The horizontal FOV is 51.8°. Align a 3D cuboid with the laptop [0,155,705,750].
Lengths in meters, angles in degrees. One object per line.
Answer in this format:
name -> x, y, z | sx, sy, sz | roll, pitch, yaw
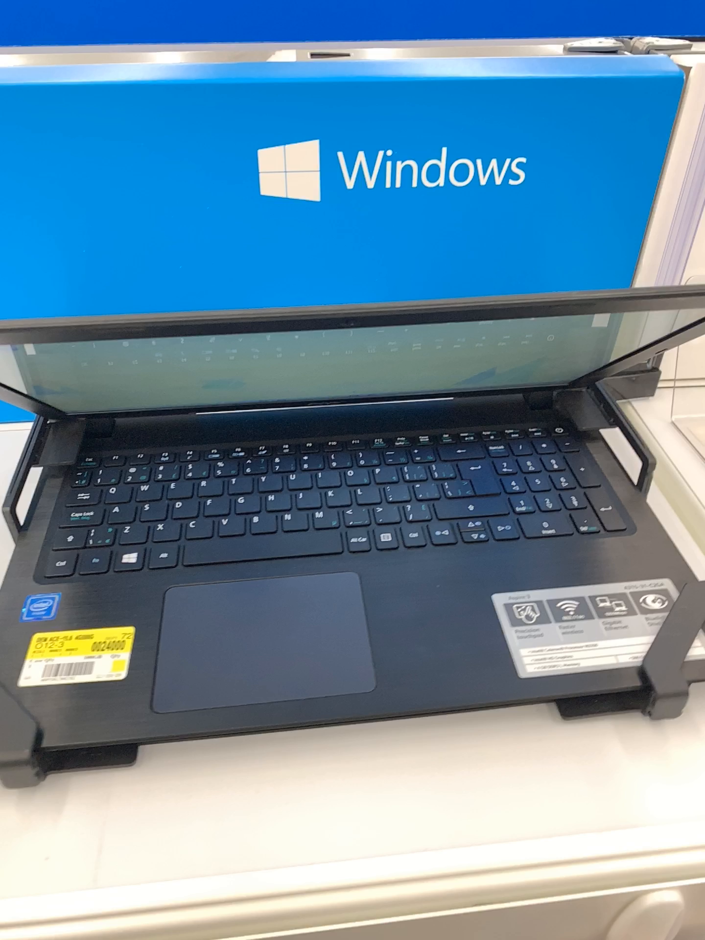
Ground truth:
laptop -> -0.004, -0.032, 0.347 | 0.344, 0.157, 0.234 | -4, 38, -5
